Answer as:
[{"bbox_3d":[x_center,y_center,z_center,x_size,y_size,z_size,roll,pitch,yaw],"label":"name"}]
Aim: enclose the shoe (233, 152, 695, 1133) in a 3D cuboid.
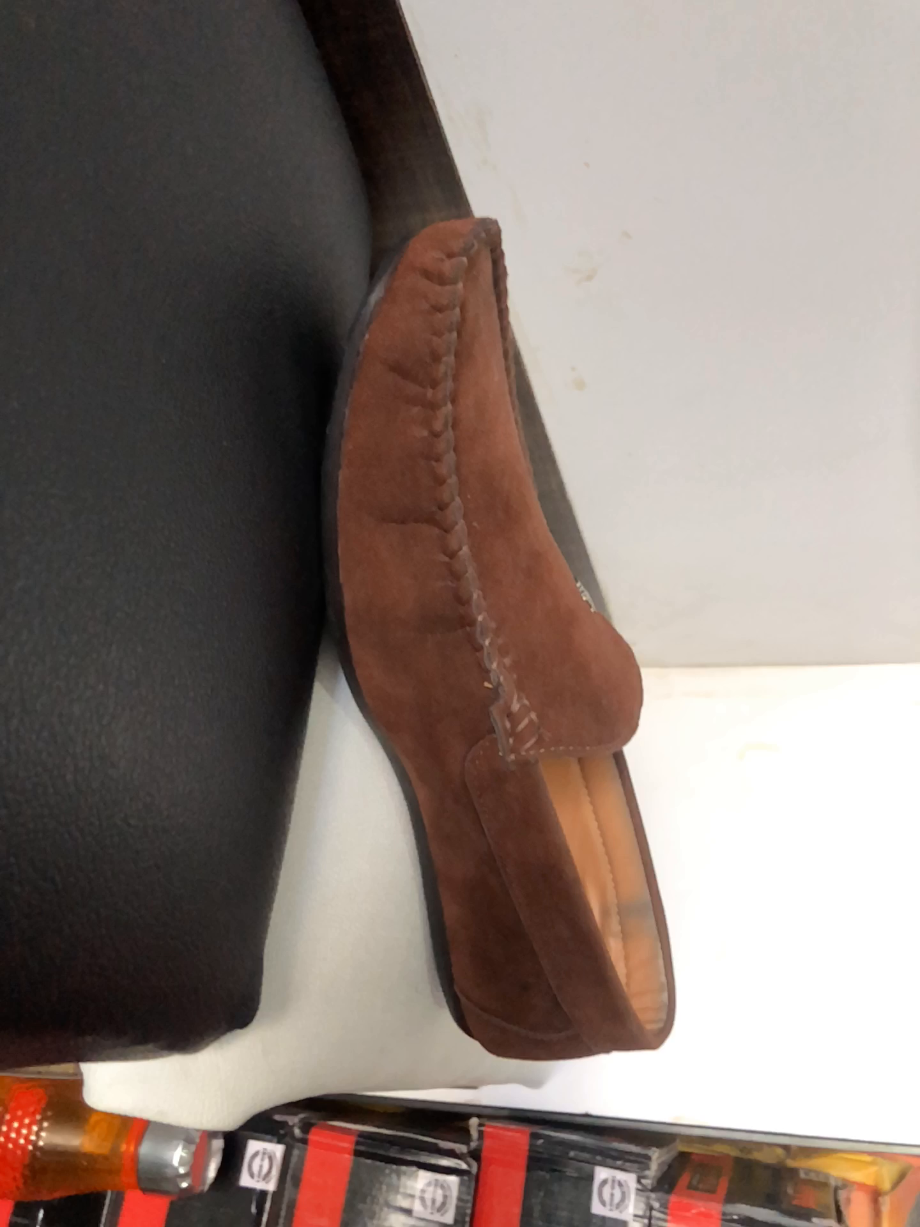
[{"bbox_3d":[0.027,0.014,0.345,0.140,0.080,0.291,-65,149,-58],"label":"shoe"}]
